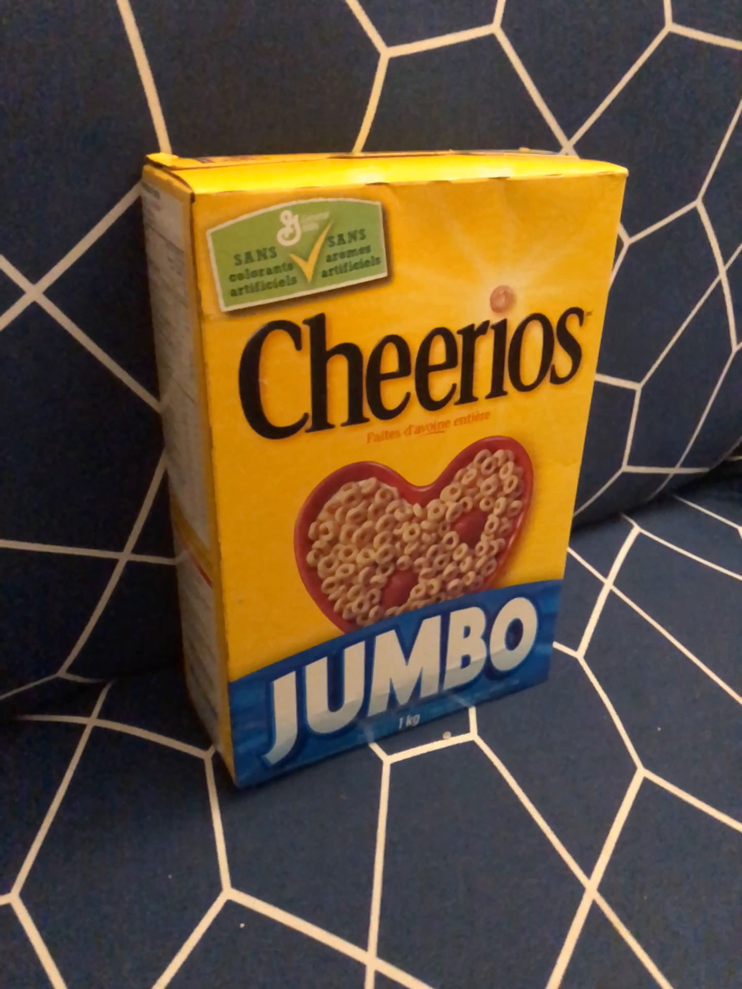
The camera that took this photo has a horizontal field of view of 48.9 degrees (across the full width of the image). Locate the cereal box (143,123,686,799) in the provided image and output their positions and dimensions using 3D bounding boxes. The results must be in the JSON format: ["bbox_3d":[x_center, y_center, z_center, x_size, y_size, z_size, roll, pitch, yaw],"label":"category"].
[{"bbox_3d":[0.018,-0.021,0.399,0.210,0.288,0.080,-12,31,-25],"label":"cereal box"}]
